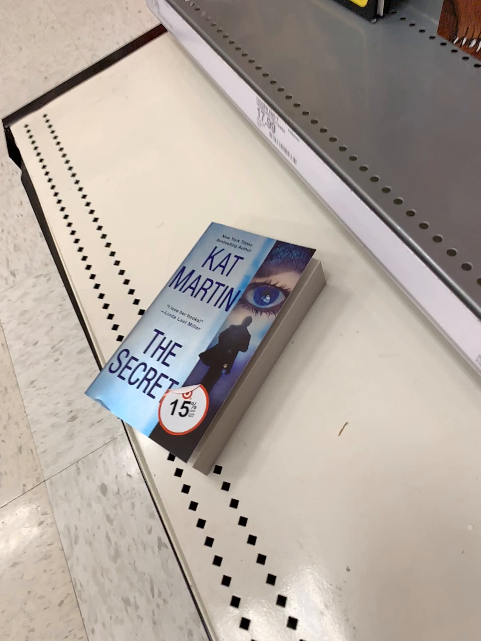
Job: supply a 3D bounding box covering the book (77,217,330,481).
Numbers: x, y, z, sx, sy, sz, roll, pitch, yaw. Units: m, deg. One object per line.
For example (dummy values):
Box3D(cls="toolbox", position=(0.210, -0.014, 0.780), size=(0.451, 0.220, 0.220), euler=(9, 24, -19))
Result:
Box3D(cls="book", position=(-0.024, 0.012, 0.358), size=(0.106, 0.040, 0.164), euler=(24, 72, 31))
